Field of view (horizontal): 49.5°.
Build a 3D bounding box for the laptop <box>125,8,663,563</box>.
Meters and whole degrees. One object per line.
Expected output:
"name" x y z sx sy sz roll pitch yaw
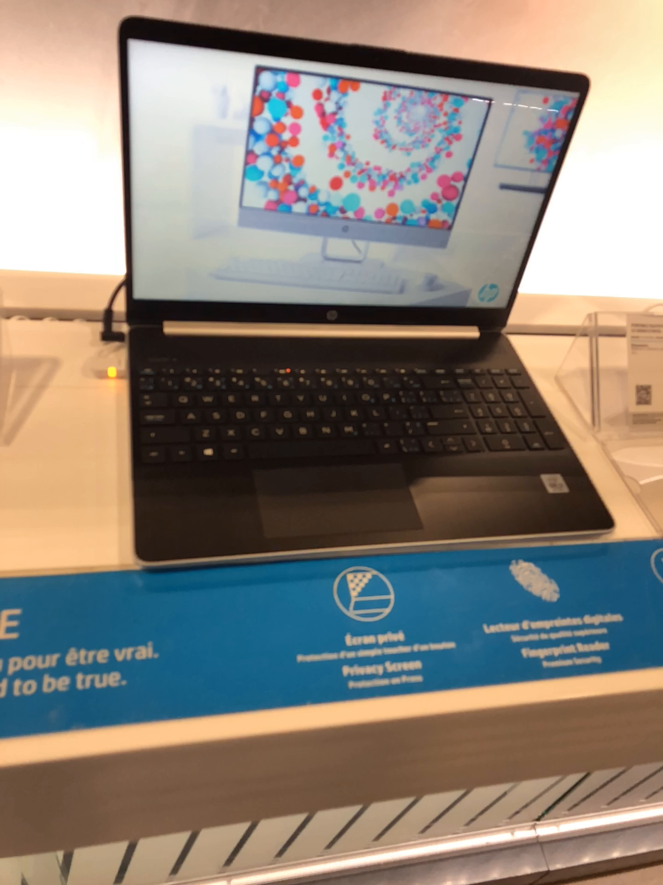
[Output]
"laptop" 0.041 -0.110 0.510 0.355 0.221 0.284 -1 47 -15
